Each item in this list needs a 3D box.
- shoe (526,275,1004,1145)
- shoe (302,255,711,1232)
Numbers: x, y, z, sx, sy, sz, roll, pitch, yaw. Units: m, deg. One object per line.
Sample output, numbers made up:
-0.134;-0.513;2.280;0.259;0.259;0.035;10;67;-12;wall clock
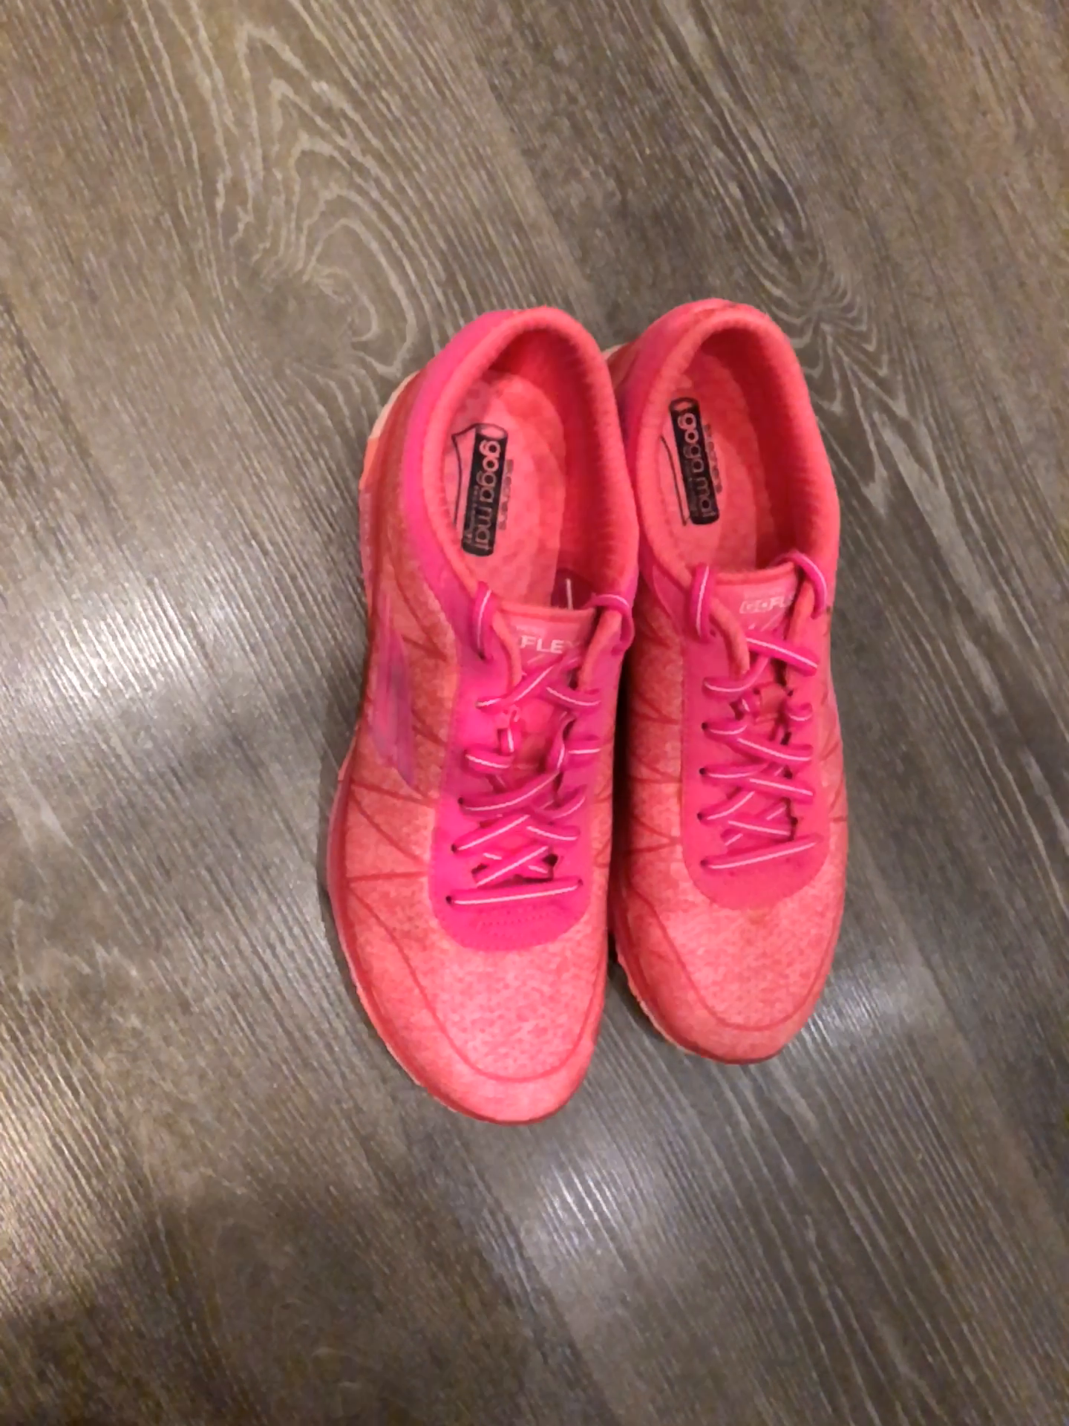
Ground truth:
0.073;-0.005;0.408;0.100;0.090;0.260;-6;88;-17;shoe
-0.015;0.007;0.372;0.100;0.090;0.260;-1;86;-17;shoe
